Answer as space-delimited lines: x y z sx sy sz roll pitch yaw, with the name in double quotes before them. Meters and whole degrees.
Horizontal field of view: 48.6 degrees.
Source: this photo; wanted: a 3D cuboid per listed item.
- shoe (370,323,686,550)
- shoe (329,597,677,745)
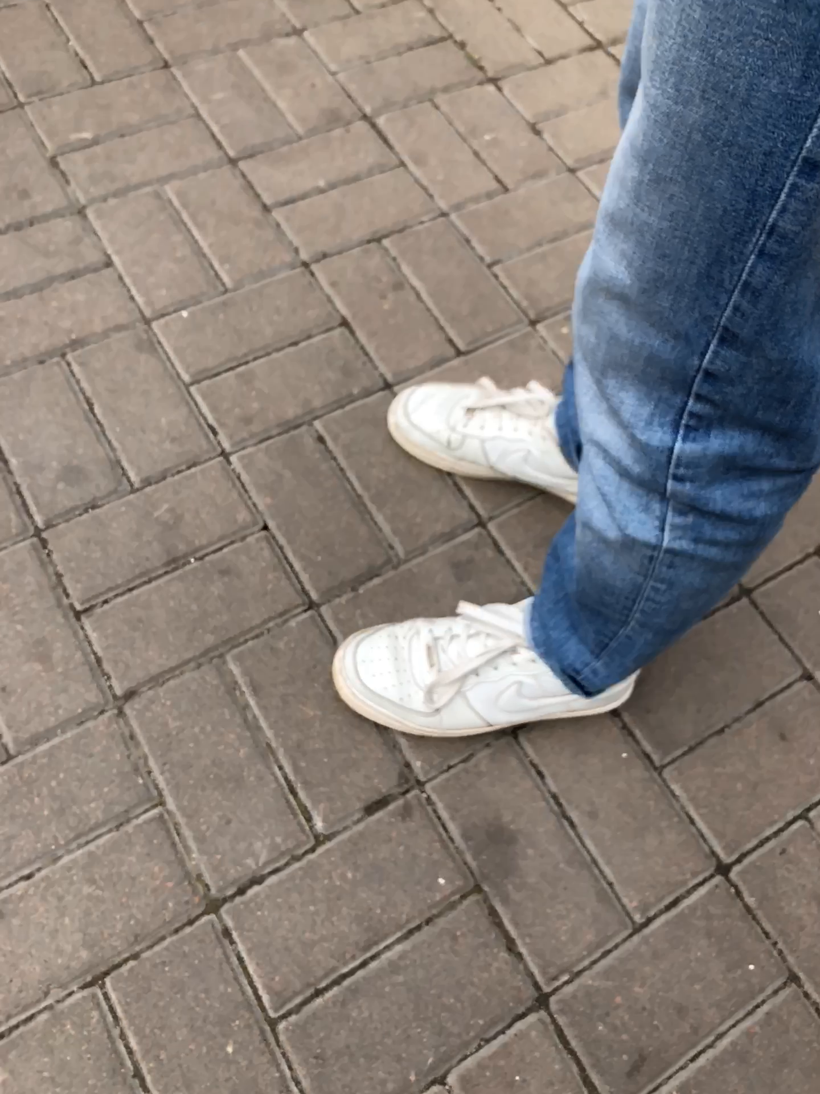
"shoe" 0.121 -0.118 0.957 0.300 0.070 0.121 22 62 7
"shoe" 0.077 0.113 0.833 0.300 0.070 0.111 -1 62 -6
